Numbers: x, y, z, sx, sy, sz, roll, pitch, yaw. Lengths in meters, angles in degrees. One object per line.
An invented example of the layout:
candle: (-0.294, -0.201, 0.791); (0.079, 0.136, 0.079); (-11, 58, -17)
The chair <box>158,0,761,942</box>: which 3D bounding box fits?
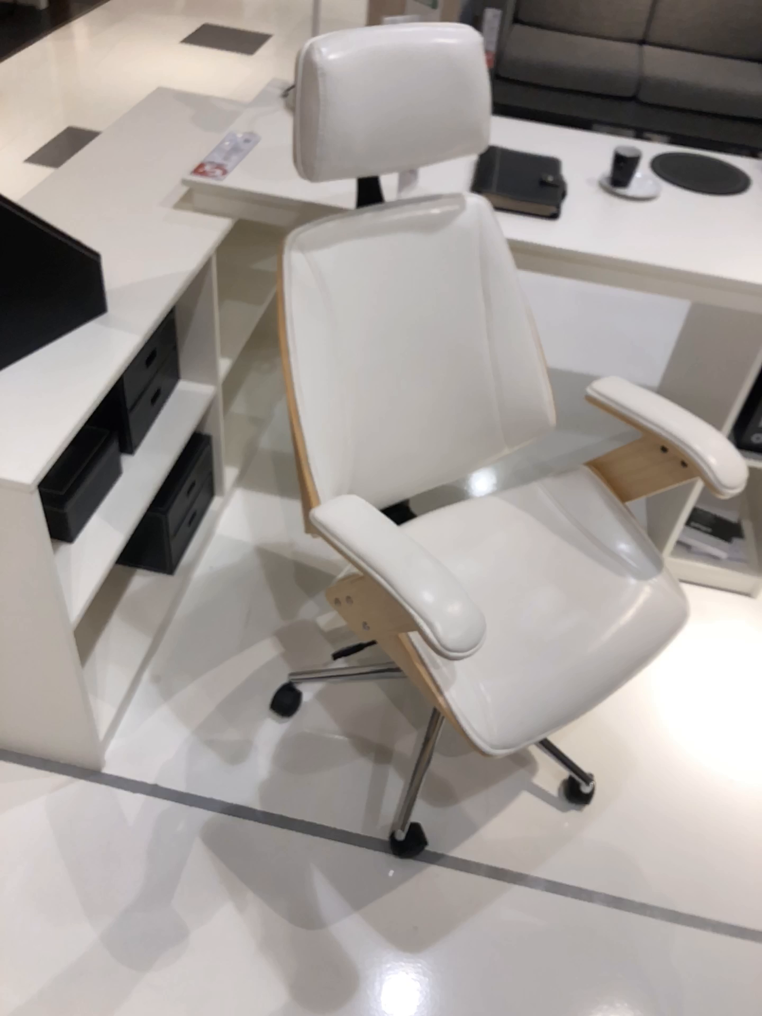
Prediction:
chair: (0.167, -0.043, 1.301); (0.672, 1.101, 0.703); (-23, 51, -28)
